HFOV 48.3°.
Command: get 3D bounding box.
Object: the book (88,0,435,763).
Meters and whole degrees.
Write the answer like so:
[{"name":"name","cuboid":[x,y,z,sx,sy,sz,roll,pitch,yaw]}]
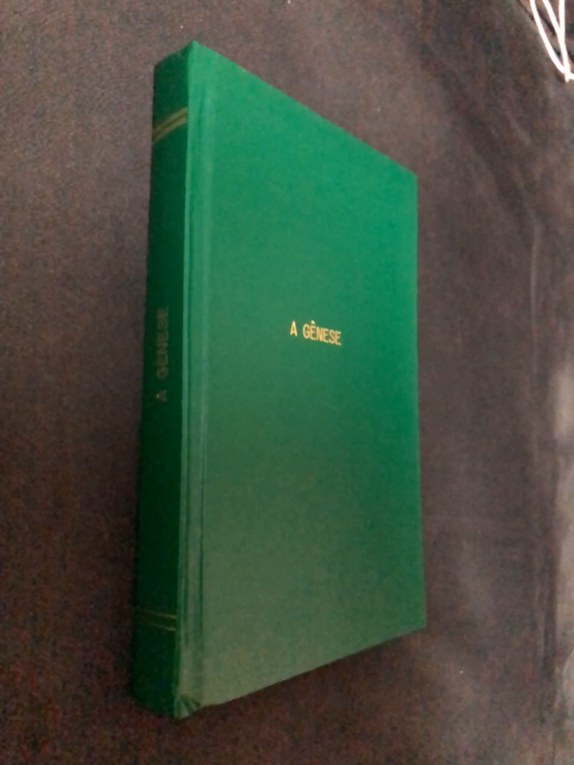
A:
[{"name":"book","cuboid":[0.001,-0.005,0.261,0.151,0.040,0.240,7,80,-47]}]
